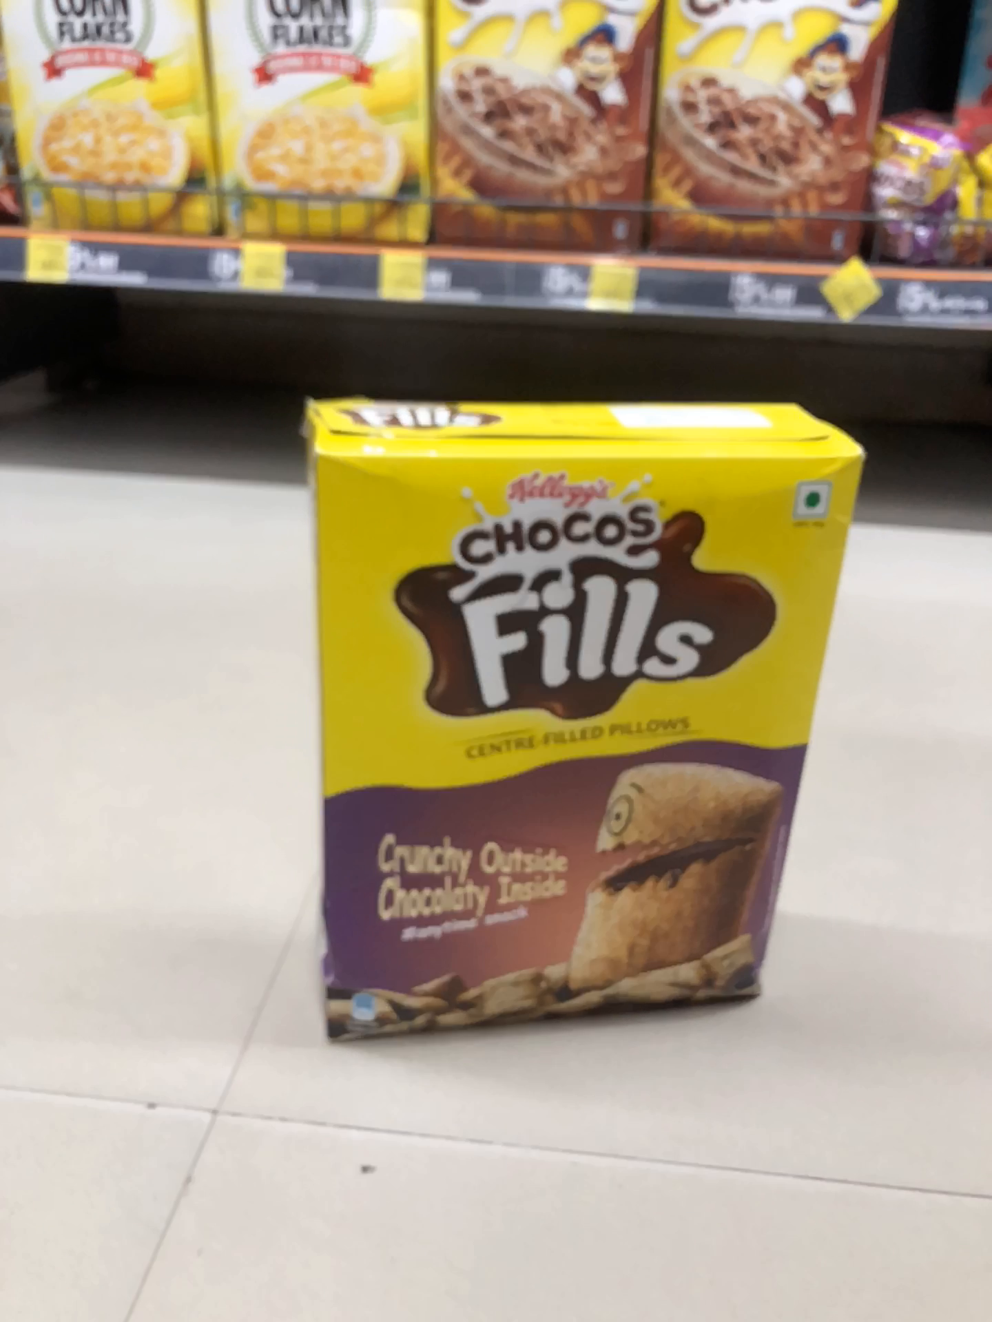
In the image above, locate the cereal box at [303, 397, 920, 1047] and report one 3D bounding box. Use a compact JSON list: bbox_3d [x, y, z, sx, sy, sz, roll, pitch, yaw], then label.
[{"bbox_3d":[0.028,0.022,0.413,0.190,0.219,0.080,-2,24,-9],"label":"cereal box"}]
